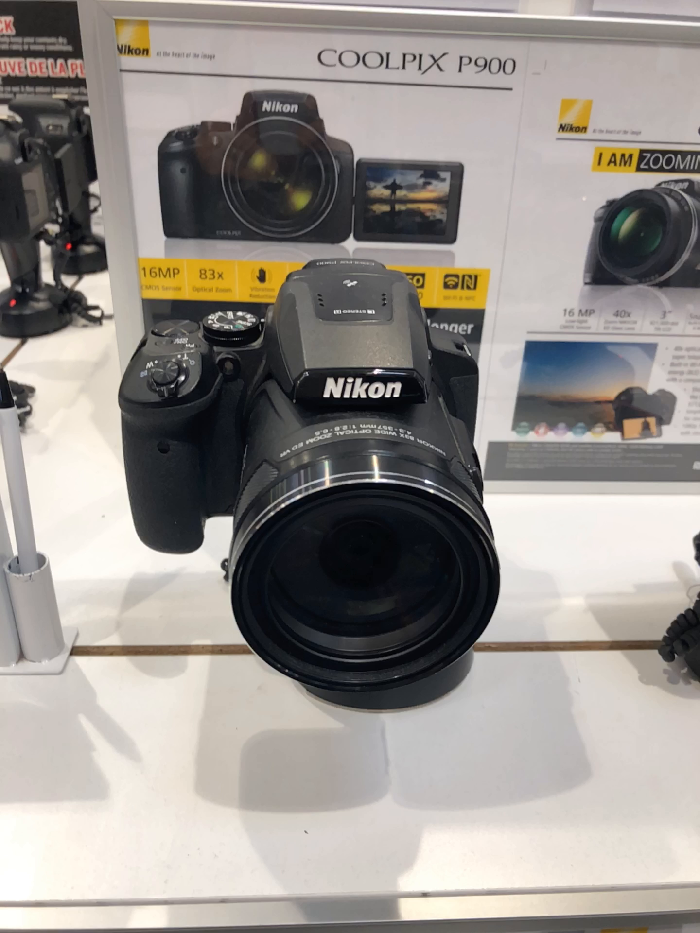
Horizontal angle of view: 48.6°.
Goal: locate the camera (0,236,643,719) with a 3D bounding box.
[{"bbox_3d":[-0.013,-0.007,0.257,0.150,0.099,0.141,0,30,-3],"label":"camera"}]
